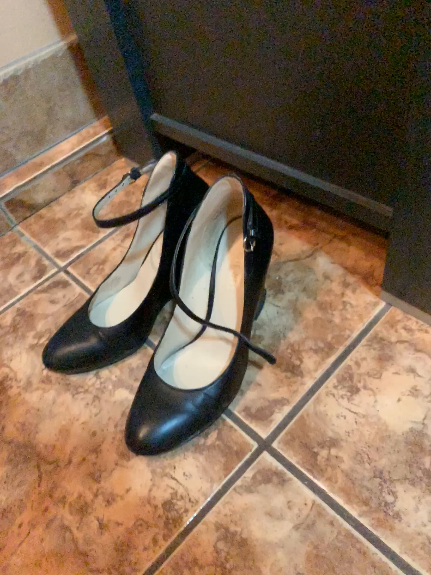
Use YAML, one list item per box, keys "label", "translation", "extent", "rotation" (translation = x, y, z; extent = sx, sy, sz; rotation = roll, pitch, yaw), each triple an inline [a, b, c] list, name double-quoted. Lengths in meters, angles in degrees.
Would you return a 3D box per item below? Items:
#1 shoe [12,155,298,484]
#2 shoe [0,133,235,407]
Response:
- label: "shoe"
  translation: [-0.023, 0.020, 0.360]
  extent: [0.087, 0.140, 0.210]
  rotation: [22, 58, 28]
- label: "shoe"
  translation: [-0.092, -0.016, 0.419]
  extent: [0.200, 0.159, 0.079]
  rotation: [-38, 52, -19]
